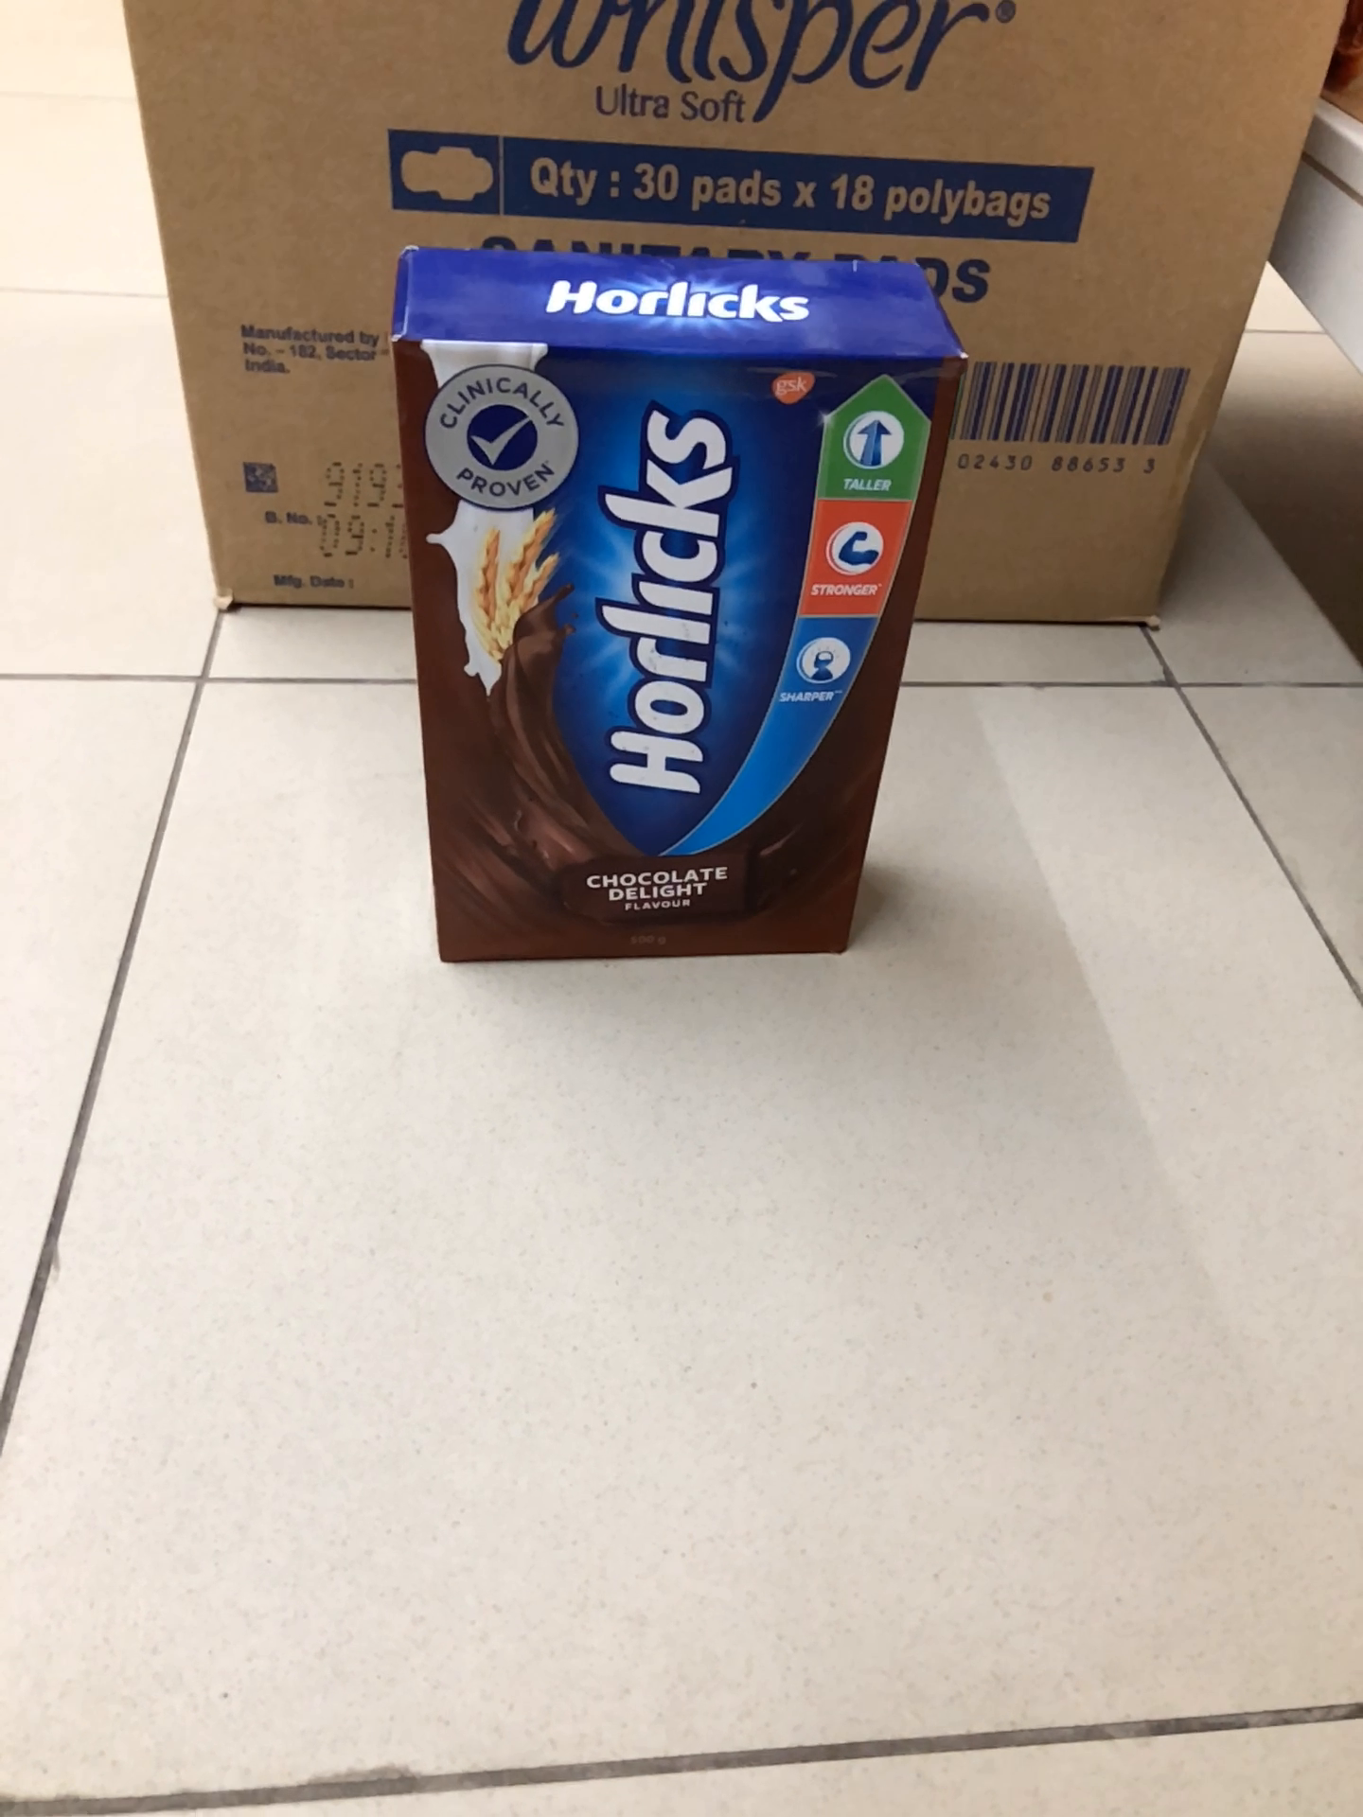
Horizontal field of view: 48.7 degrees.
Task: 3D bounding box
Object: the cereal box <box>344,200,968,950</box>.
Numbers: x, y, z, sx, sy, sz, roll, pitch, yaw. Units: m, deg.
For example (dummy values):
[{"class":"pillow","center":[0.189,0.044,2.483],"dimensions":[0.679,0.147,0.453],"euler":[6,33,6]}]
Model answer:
[{"class":"cereal box","center":[-0.013,-0.082,0.425],"dimensions":[0.140,0.199,0.060],"euler":[-1,42,-6]}]
